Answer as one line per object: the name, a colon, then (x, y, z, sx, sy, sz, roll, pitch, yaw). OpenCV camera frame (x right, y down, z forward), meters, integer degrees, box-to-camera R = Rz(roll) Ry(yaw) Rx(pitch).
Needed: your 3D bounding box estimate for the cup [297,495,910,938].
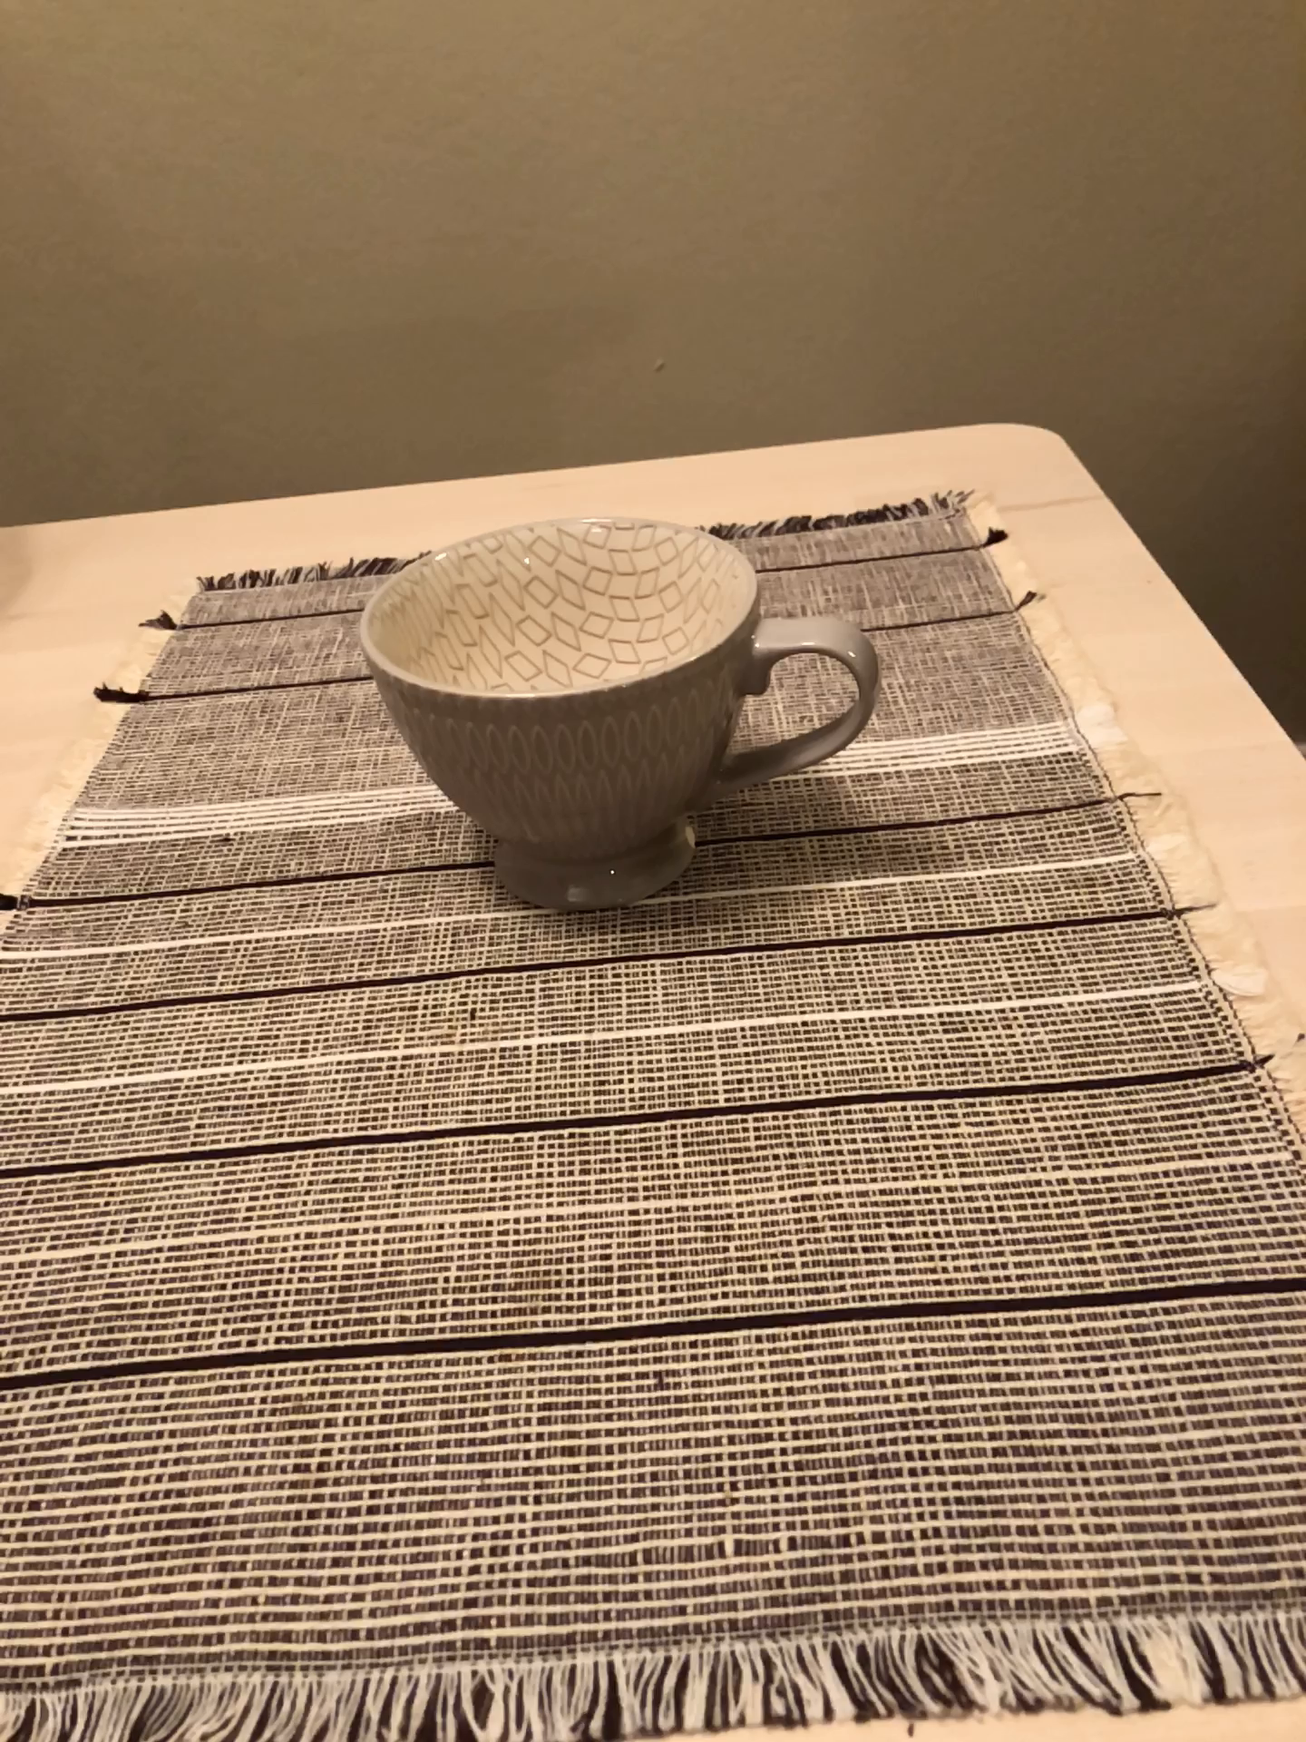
cup: (-0.004, -0.049, 0.421, 0.150, 0.080, 0.111, 2, 36, 12)
